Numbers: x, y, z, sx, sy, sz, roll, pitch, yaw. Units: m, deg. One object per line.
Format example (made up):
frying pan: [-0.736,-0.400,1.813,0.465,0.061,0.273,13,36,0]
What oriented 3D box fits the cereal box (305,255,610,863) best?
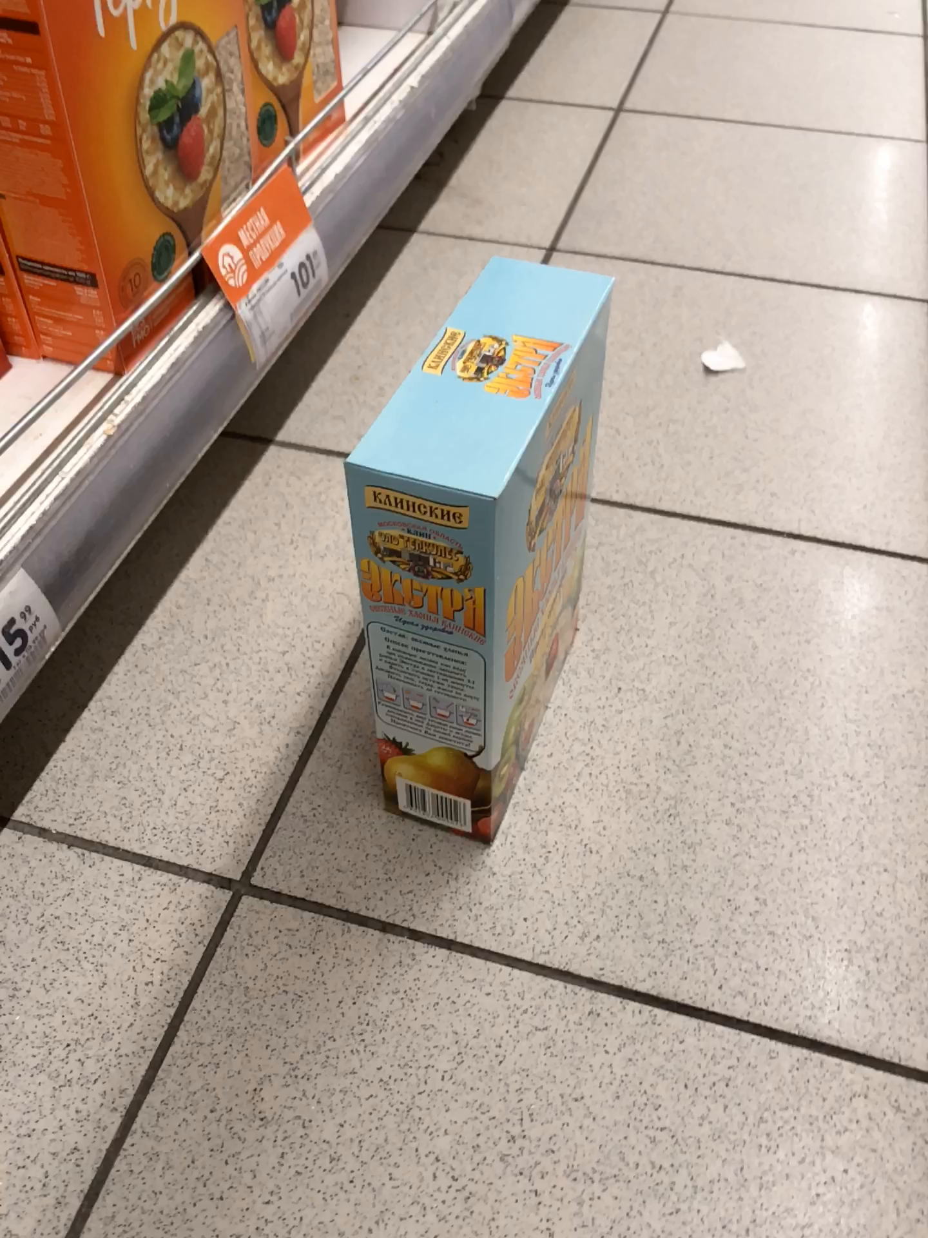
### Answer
cereal box: [0.005,-0.020,0.445,0.060,0.209,0.151,15,49,14]
